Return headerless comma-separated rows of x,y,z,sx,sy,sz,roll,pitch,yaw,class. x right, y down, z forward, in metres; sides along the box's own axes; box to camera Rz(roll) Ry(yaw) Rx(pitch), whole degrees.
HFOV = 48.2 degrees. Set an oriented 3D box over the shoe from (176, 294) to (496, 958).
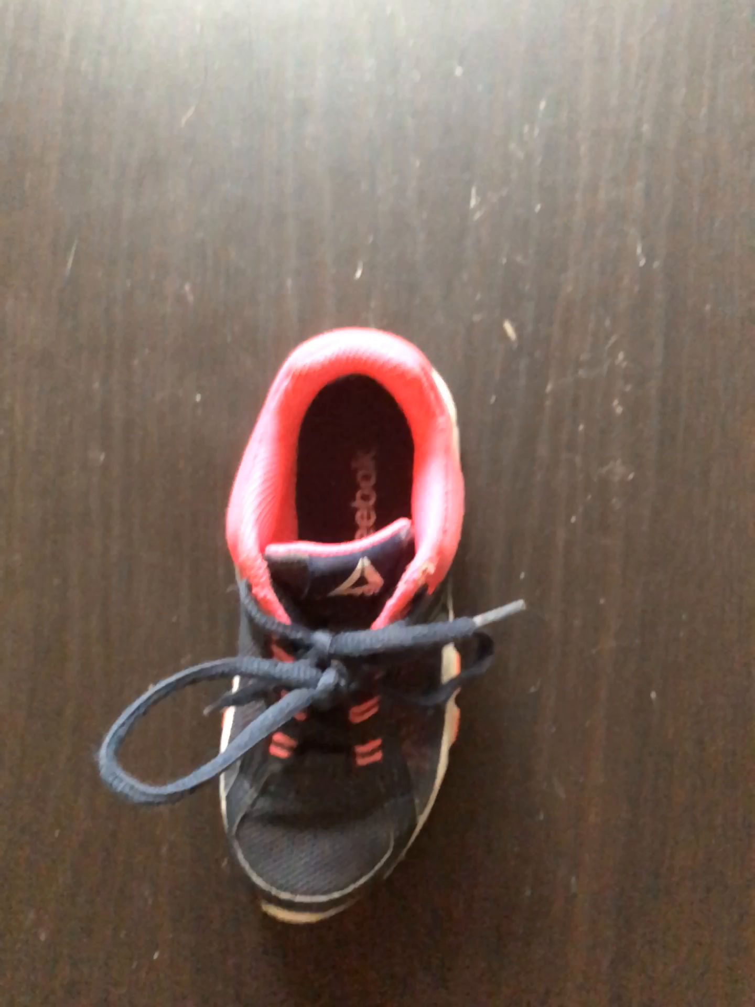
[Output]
-0.011,0.036,0.290,0.080,0.070,0.193,5,87,2,shoe
